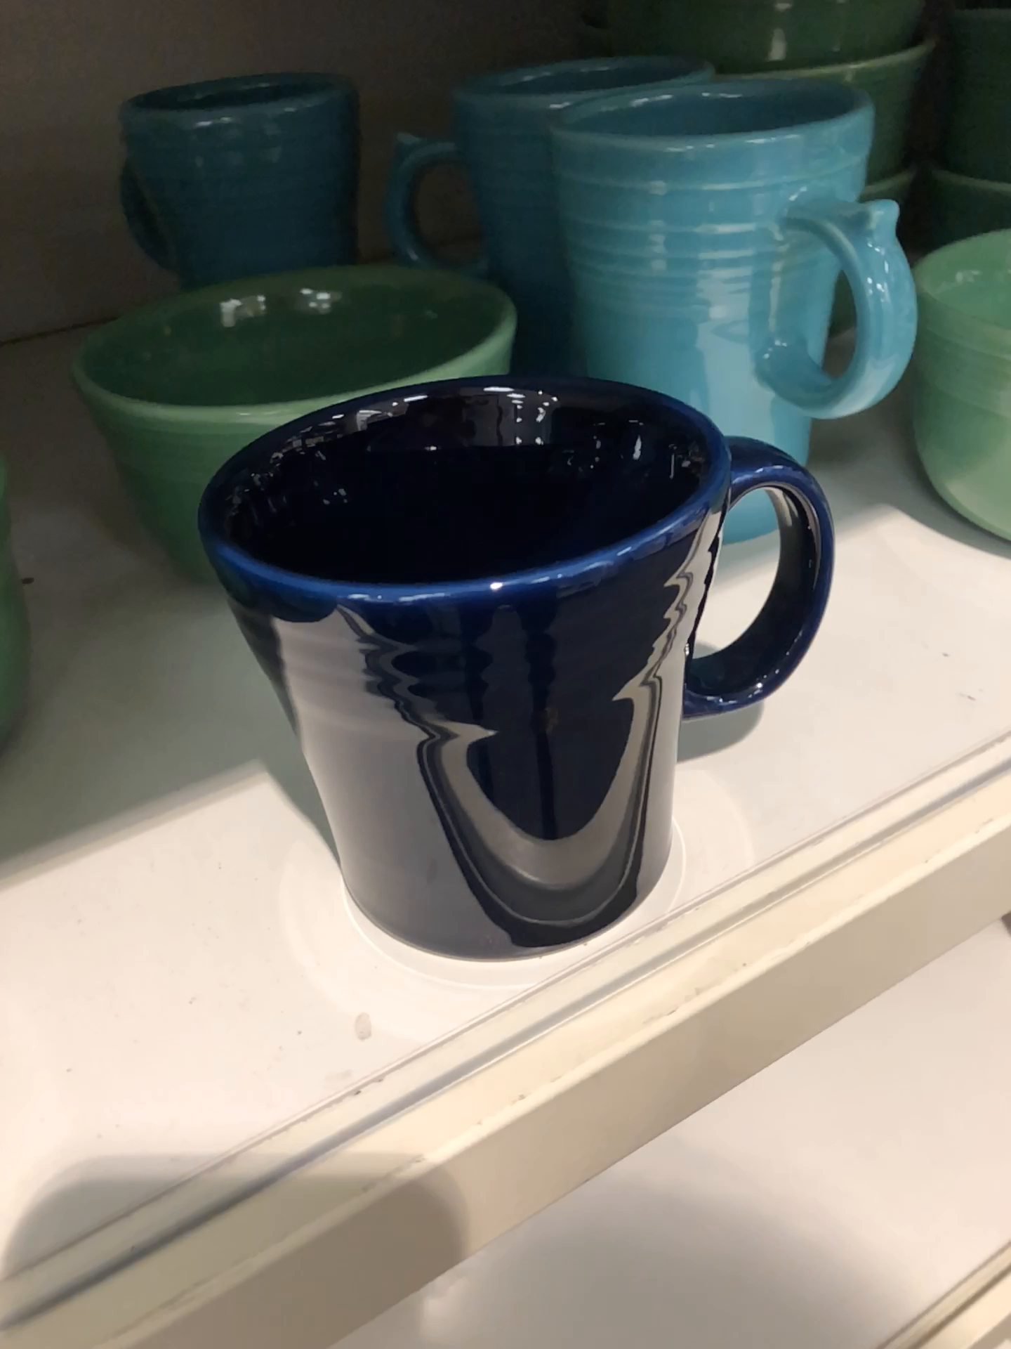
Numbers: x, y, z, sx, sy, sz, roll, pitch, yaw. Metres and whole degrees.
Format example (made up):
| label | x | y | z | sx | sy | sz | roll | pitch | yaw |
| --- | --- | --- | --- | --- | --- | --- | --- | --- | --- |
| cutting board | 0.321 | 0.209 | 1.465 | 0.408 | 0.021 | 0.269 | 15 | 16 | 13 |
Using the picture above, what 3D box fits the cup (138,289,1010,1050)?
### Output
| label | x | y | z | sx | sy | sz | roll | pitch | yaw |
| --- | --- | --- | --- | --- | --- | --- | --- | --- | --- |
| cup | 0.015 | -0.013 | 0.244 | 0.143 | 0.085 | 0.094 | -23 | 39 | -21 |
